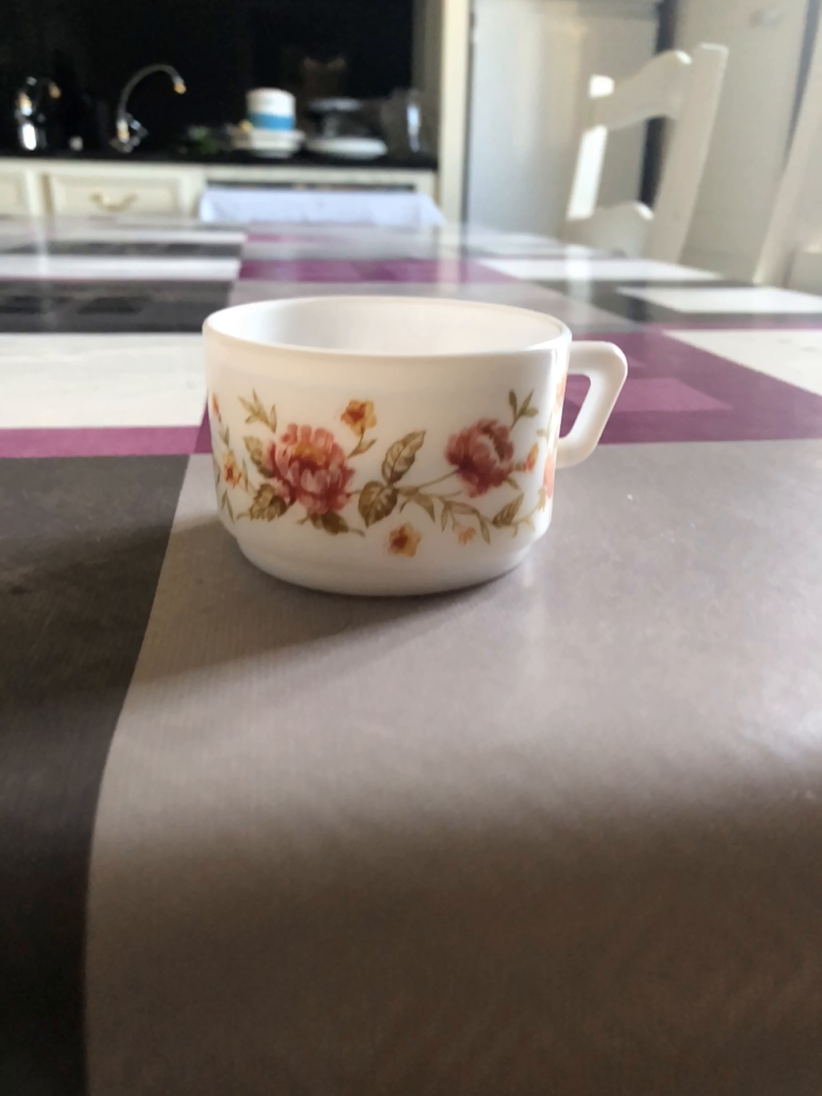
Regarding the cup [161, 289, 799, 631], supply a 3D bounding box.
[{"bbox_3d":[0.007,-0.026,0.199,0.110,0.050,0.080,-3,22,-11],"label":"cup"}]
